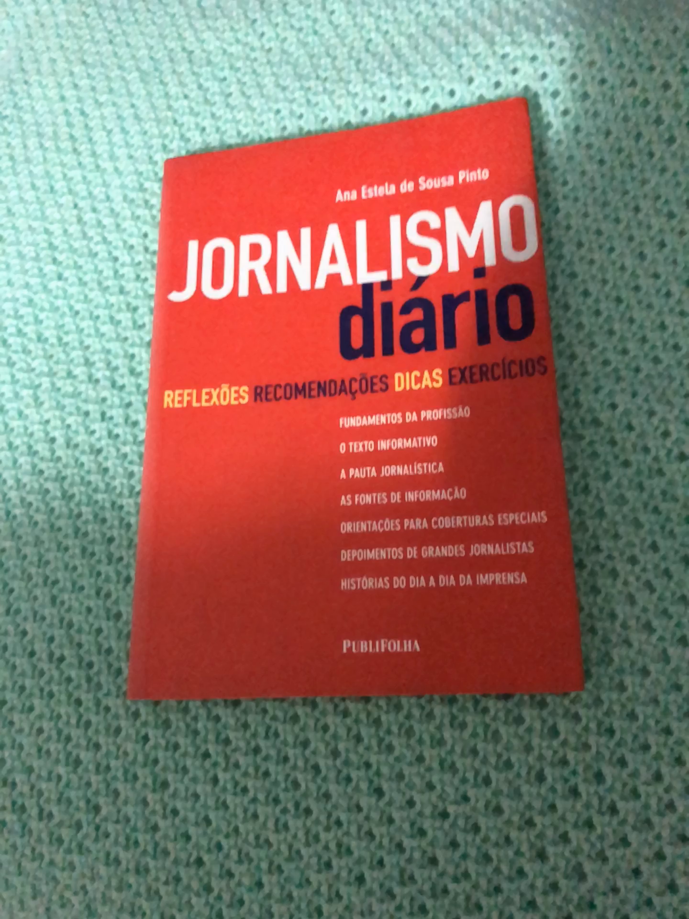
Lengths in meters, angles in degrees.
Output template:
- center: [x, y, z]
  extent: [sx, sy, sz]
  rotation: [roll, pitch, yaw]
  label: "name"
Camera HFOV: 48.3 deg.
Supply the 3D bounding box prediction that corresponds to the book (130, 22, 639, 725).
- center: [0.007, -0.035, 0.287]
  extent: [0.160, 0.030, 0.250]
  rotation: [-6, 72, 14]
  label: "book"
